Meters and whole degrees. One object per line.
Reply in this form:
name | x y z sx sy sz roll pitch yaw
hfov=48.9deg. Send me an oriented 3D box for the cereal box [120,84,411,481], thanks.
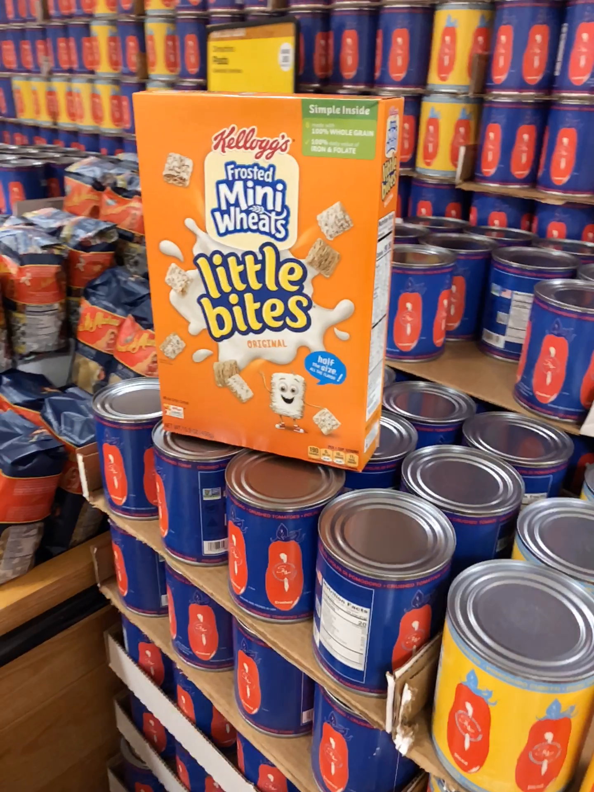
cereal box | -0.026 -0.090 0.528 0.200 0.288 0.060 10 27 18
